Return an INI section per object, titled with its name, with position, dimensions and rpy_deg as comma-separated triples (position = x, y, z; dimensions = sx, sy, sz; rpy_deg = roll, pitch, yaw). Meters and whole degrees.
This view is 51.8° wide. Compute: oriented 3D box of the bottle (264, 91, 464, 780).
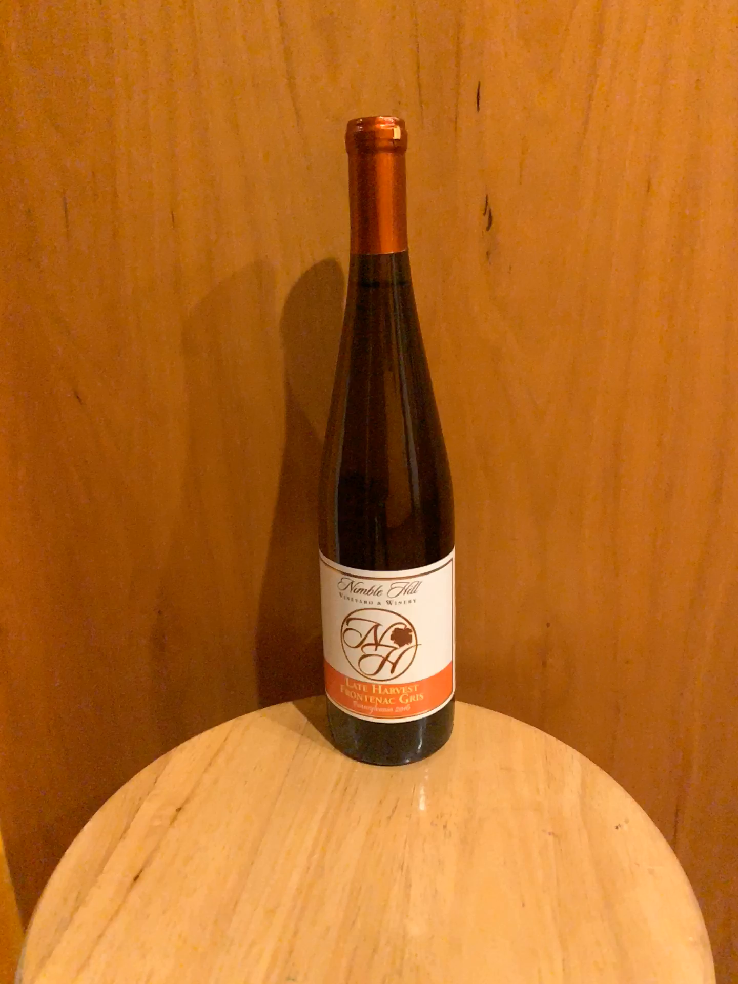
[bottle]
position = 0.005, -0.014, 0.386
dimensions = 0.080, 0.329, 0.060
rpy_deg = 1, 19, 8
